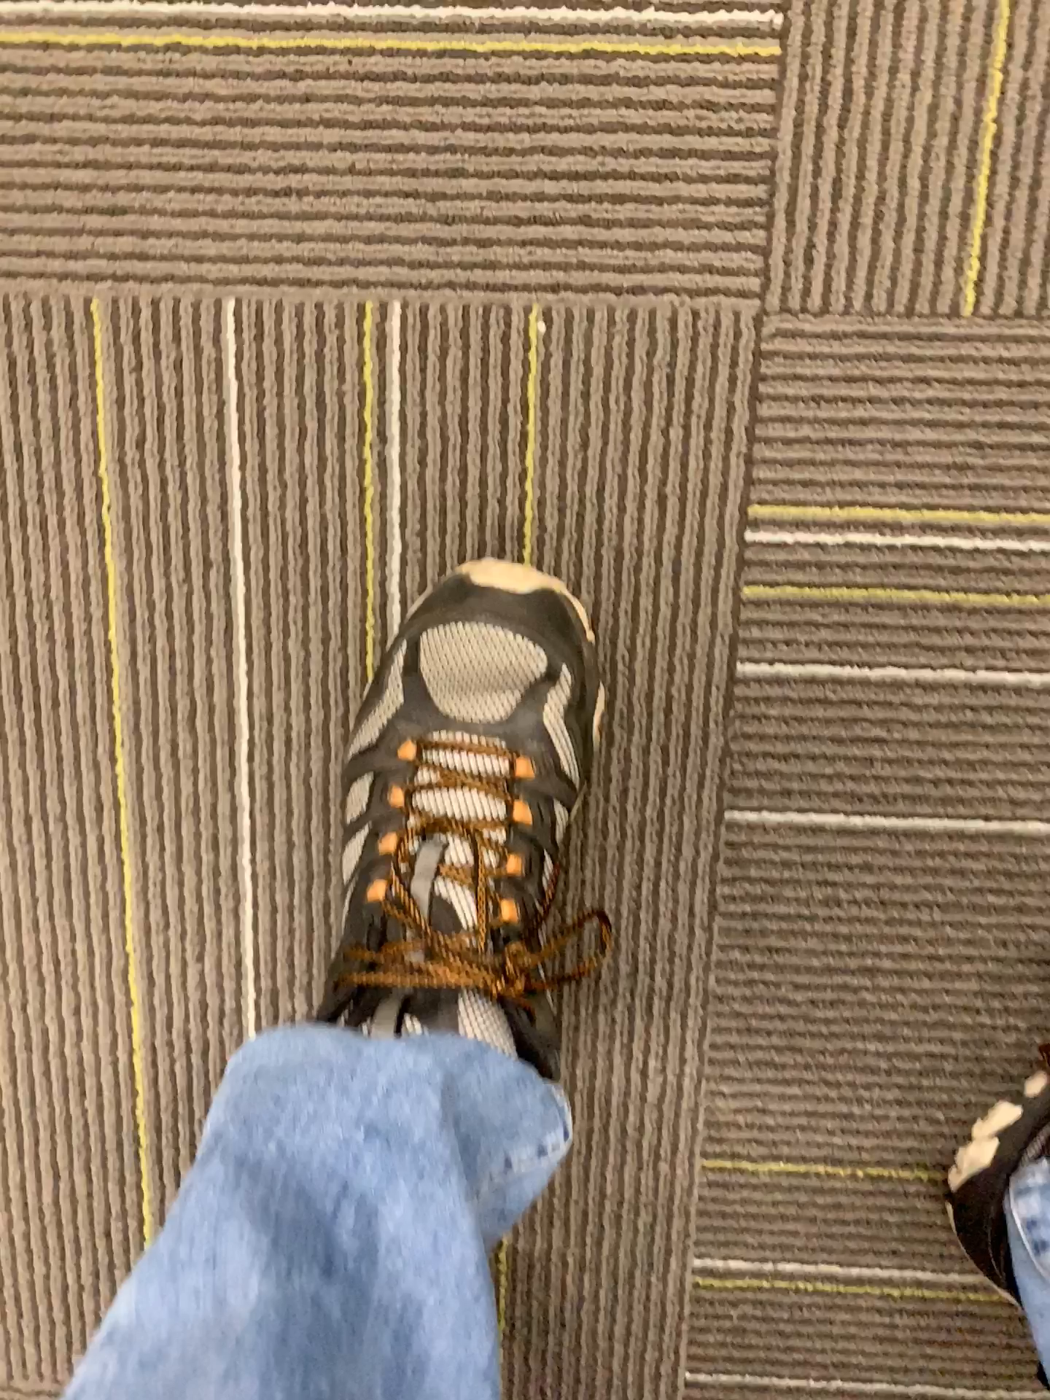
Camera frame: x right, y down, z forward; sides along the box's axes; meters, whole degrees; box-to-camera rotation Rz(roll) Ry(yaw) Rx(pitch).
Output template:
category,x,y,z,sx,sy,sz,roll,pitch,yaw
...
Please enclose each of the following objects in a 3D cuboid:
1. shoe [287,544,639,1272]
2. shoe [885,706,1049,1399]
category,x,y,z,sx,sy,sz,roll,pitch,yaw
shoe,-0.032,0.098,0.519,0.125,0.095,0.323,7,104,1
shoe,0.327,0.181,0.525,0.122,0.095,0.322,26,104,-4
